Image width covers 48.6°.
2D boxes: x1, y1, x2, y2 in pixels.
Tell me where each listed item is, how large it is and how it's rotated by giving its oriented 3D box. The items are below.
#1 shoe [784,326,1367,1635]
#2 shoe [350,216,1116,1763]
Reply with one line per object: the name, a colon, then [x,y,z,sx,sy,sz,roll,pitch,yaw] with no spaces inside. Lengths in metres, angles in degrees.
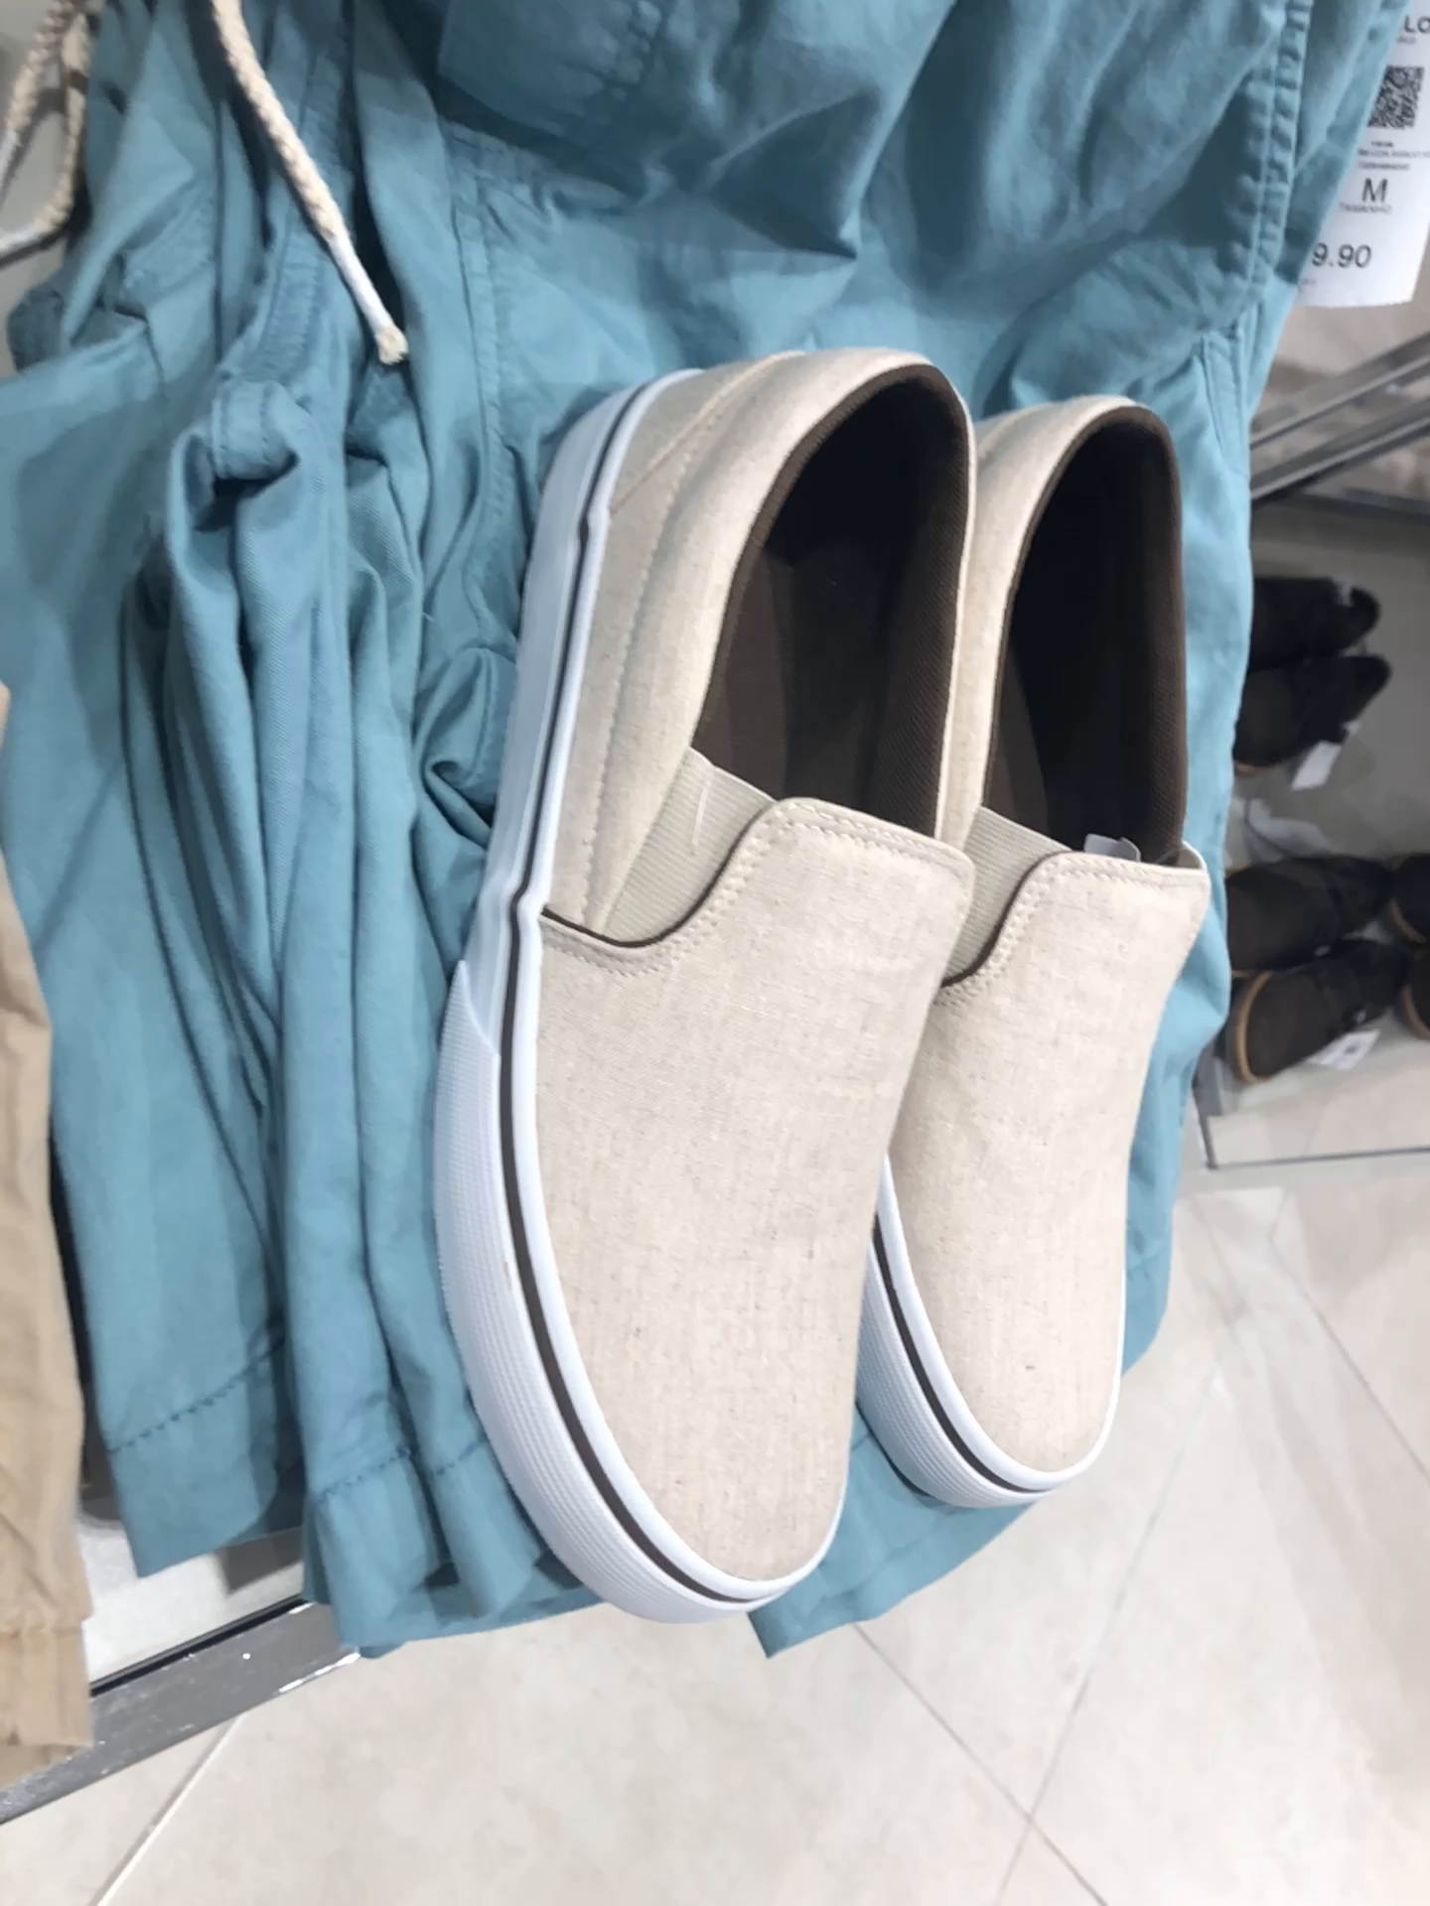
shoe: [0.085,0.006,0.381,0.101,0.089,0.260,2,86,-40]
shoe: [0.007,0.007,0.329,0.101,0.089,0.260,12,80,-38]
